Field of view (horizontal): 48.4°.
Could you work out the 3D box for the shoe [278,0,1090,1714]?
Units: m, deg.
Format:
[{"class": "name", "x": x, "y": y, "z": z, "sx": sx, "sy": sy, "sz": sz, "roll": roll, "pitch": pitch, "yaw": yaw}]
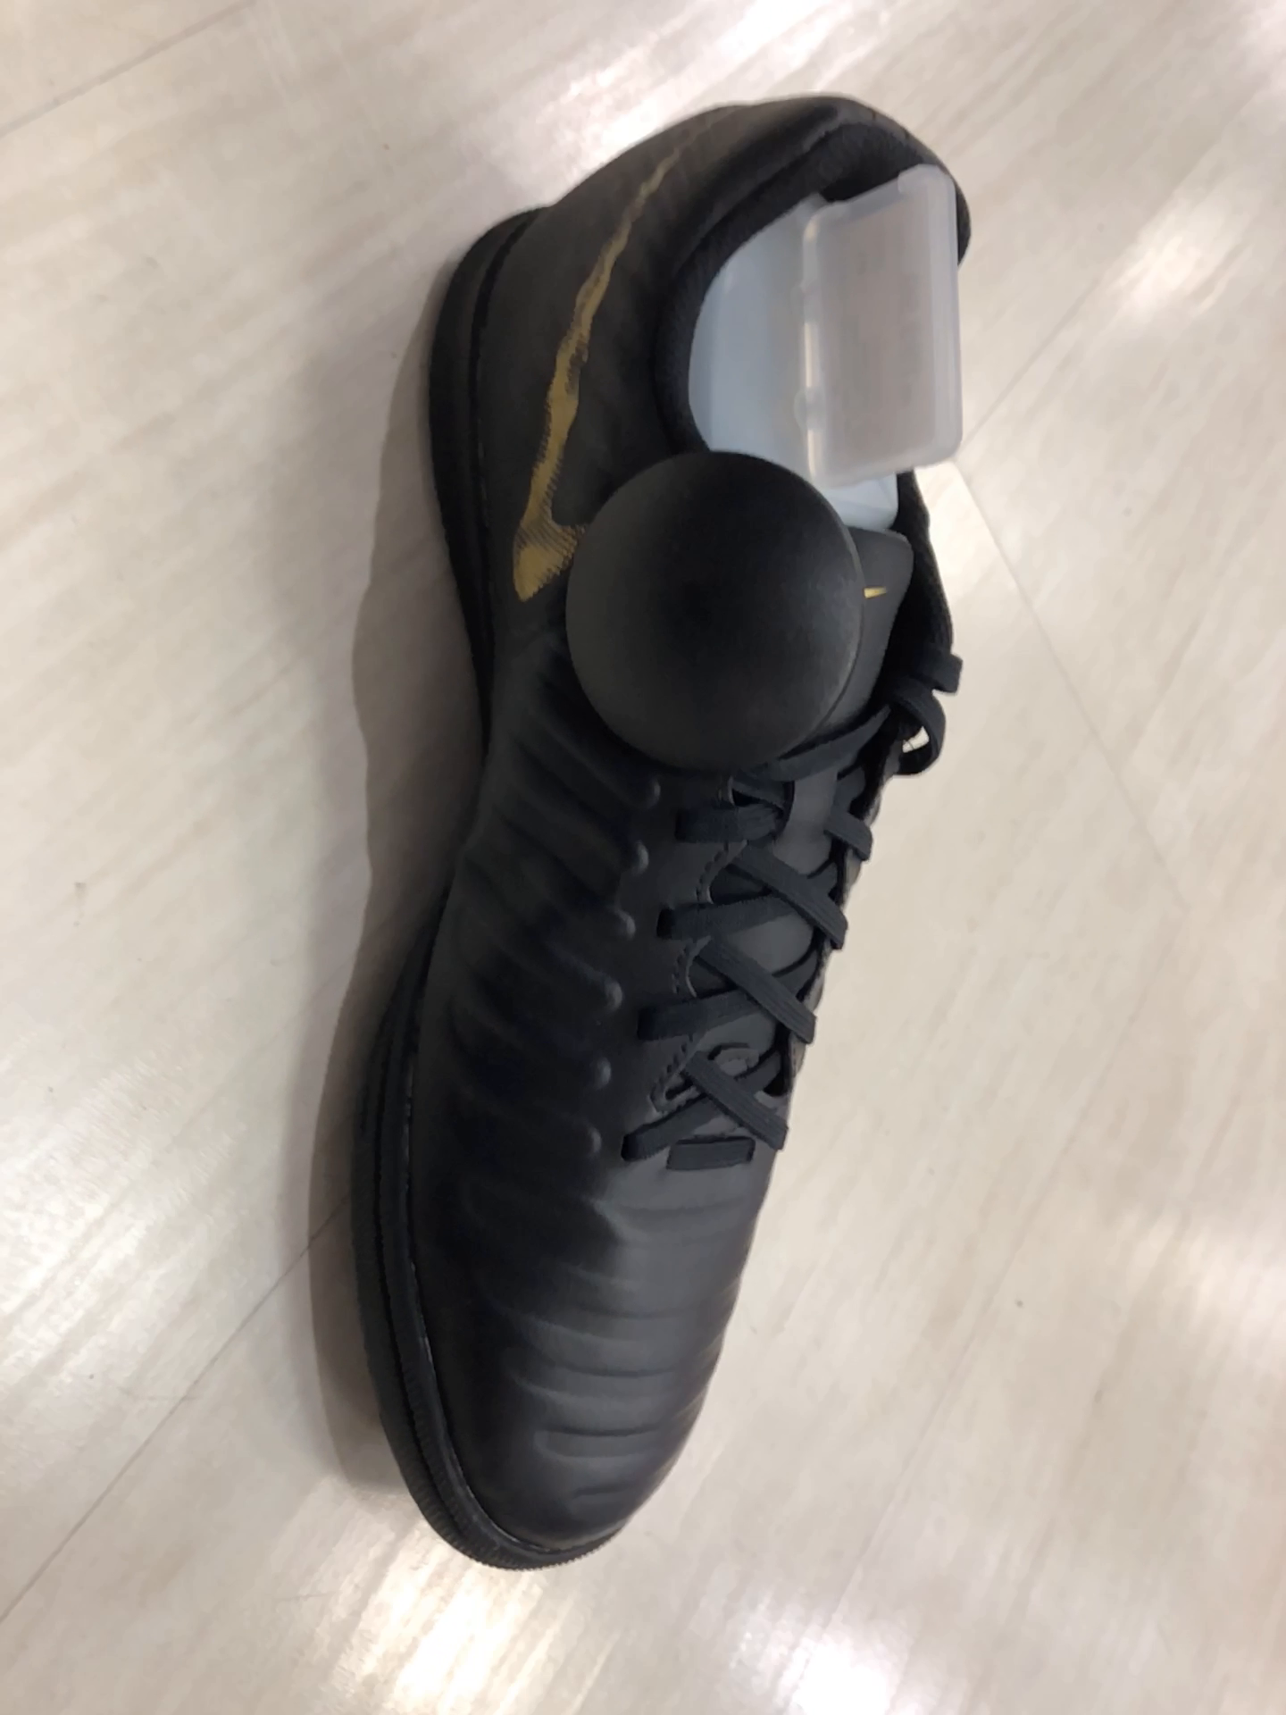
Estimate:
[{"class": "shoe", "x": 0.010, "y": -0.004, "z": 0.280, "sx": 0.101, "sy": 0.109, "sz": 0.290, "roll": 7, "pitch": 82, "yaw": -40}]
